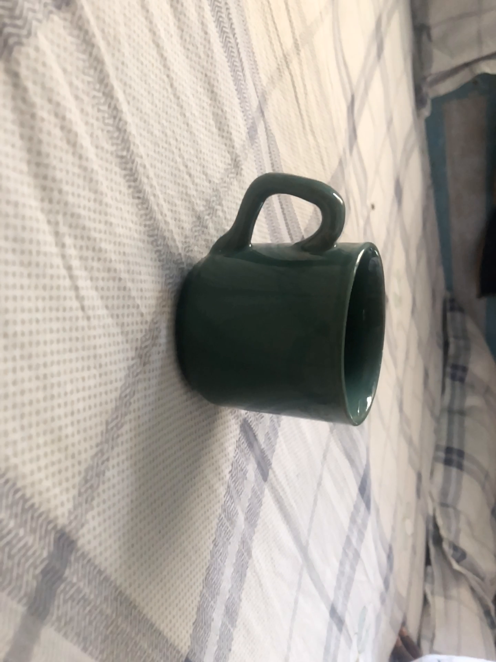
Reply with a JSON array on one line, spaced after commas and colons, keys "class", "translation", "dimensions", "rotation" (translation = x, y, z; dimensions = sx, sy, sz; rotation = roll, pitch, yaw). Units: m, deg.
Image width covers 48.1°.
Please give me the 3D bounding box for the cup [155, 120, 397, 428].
[{"class": "cup", "translation": [0.014, -0.014, 0.188], "dimensions": [0.070, 0.060, 0.080], "rotation": [2, 87, -67]}]
